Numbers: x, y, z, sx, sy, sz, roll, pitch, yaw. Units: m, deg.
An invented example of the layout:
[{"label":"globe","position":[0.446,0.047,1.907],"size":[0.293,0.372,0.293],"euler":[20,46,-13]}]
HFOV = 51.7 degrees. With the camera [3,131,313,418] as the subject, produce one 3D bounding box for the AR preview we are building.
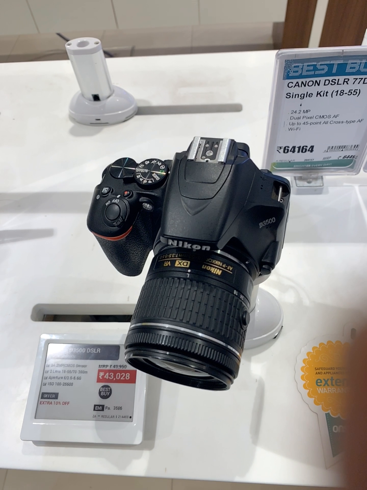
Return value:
[{"label":"camera","position":[0.000,0.015,0.198],"size":[0.110,0.090,0.103],"euler":[8,58,11]}]
